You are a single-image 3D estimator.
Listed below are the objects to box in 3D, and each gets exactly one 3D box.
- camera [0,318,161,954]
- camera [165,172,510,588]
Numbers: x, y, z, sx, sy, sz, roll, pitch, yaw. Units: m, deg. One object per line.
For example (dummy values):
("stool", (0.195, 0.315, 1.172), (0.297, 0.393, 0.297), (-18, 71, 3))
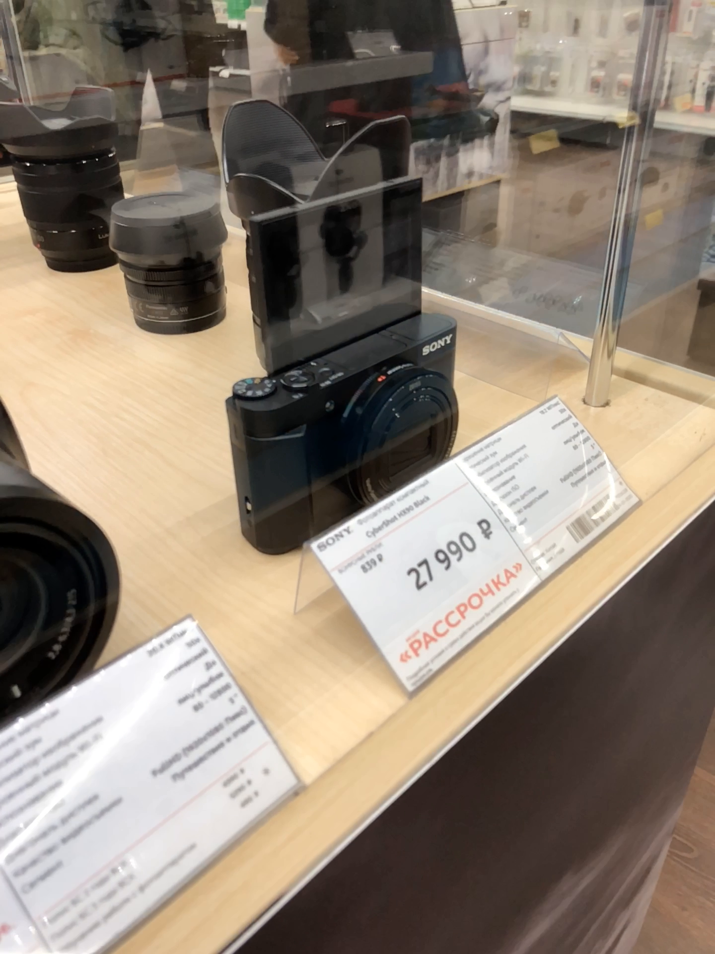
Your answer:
("camera", (-0.154, 0.028, 0.217), (0.133, 0.078, 0.136), (-29, 42, -36))
("camera", (-0.002, -0.038, 0.272), (0.100, 0.107, 0.050), (-29, 41, -36))
